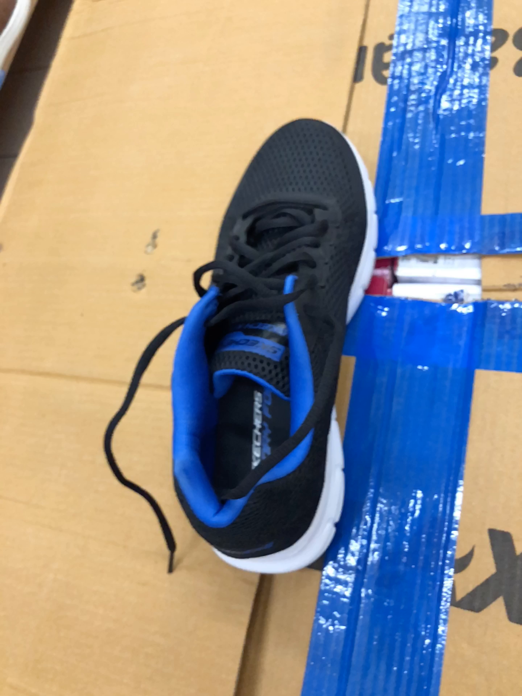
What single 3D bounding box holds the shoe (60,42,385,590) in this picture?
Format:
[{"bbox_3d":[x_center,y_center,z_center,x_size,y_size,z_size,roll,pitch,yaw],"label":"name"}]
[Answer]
[{"bbox_3d":[-0.003,-0.018,0.341,0.114,0.106,0.278,0,70,22],"label":"shoe"}]
